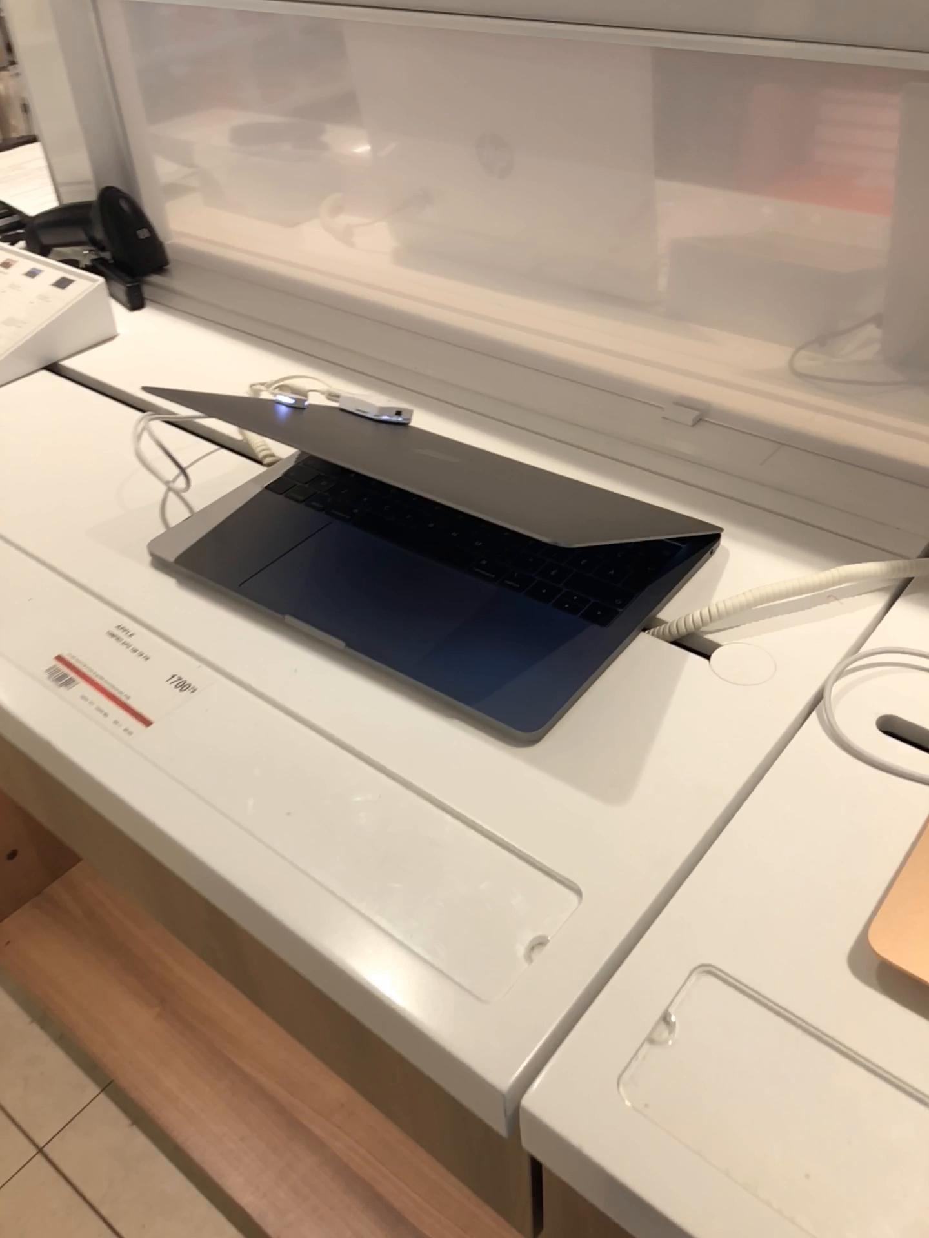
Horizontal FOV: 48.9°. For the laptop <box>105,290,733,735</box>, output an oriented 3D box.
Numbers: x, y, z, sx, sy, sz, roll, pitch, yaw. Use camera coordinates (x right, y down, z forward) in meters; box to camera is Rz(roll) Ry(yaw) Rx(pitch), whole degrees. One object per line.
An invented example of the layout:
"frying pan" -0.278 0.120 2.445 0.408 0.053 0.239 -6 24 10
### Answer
"laptop" -0.028 -0.087 0.618 0.305 0.104 0.201 23 46 30
